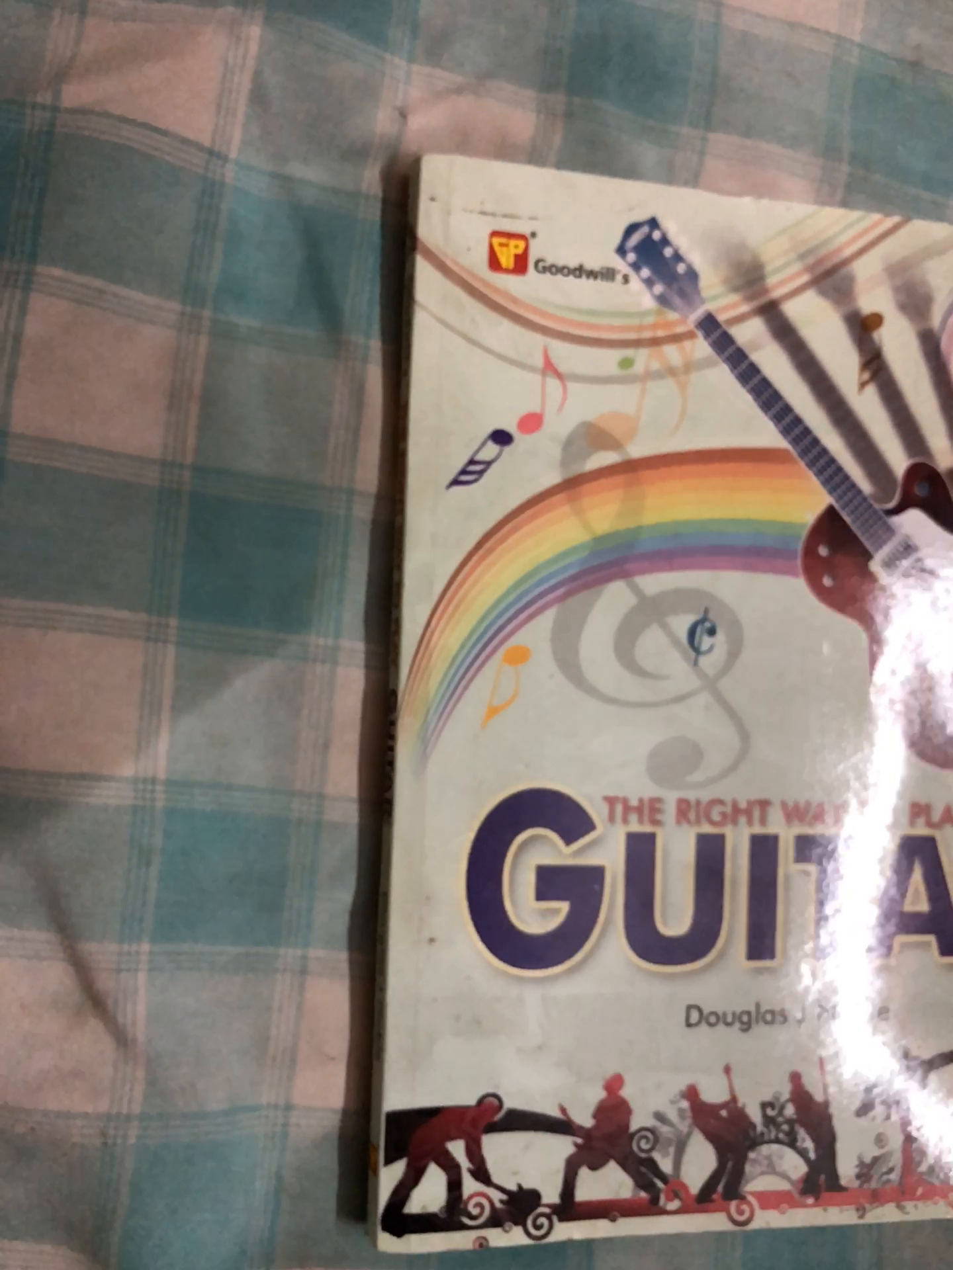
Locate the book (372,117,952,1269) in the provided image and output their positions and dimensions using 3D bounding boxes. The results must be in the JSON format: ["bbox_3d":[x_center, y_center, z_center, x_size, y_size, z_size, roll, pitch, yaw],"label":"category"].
[{"bbox_3d":[0.072,0.018,0.246,0.180,0.030,0.240,3,86,-11],"label":"book"}]
